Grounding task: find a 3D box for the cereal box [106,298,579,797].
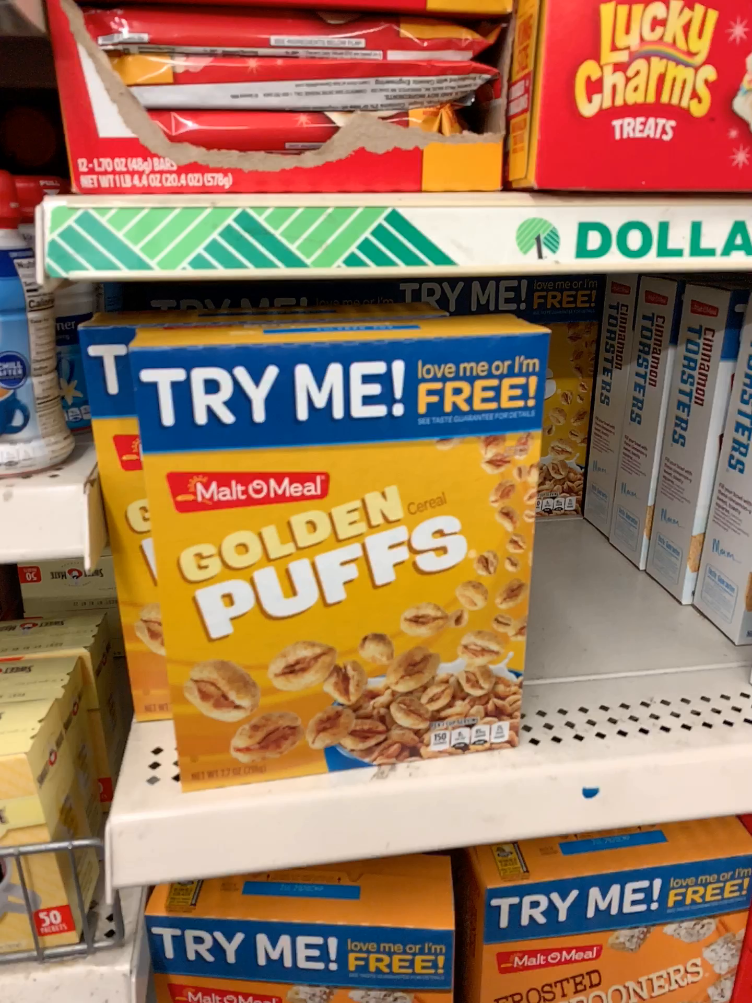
[{"bbox_3d":[-0.013,0.021,0.370,0.190,0.219,0.060,-5,21,-10],"label":"cereal box"}]
